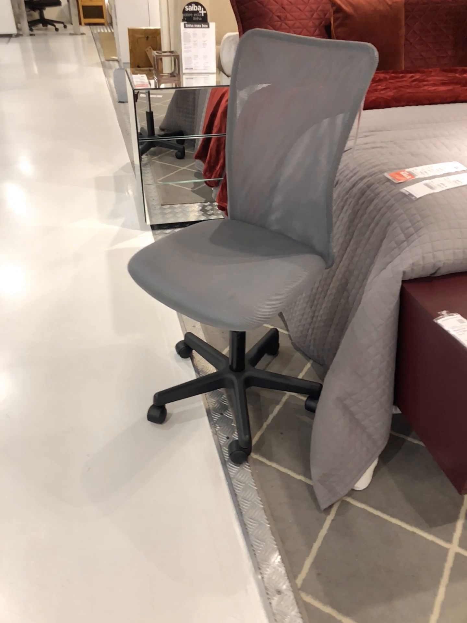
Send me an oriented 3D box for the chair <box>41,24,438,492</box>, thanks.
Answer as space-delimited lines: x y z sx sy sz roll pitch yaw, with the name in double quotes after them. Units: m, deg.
0.014 -0.179 1.363 0.643 0.942 0.562 -27 43 -34 "chair"
